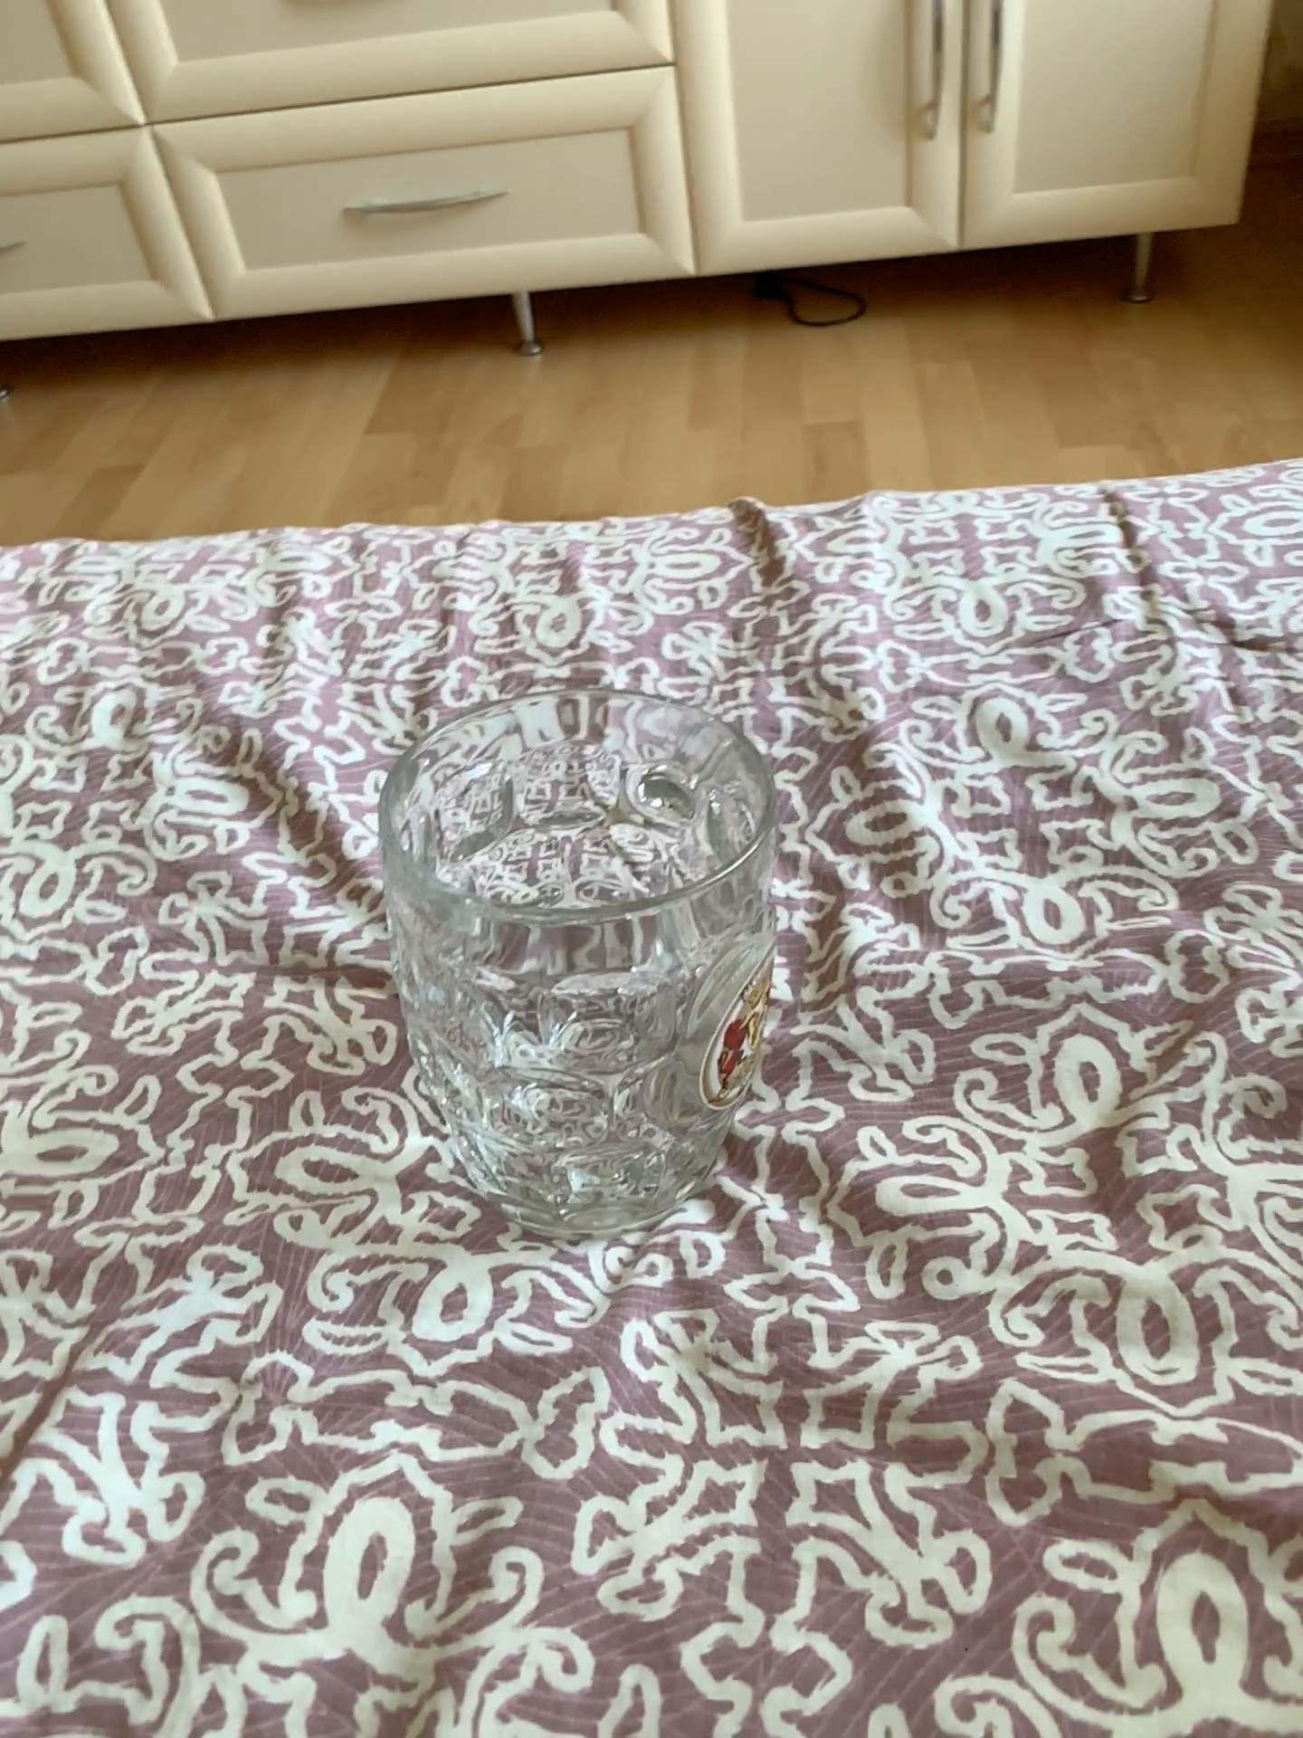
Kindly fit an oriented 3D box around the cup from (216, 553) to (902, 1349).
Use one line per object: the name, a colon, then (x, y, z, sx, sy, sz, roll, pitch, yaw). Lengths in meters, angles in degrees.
cup: (-0.013, 0.013, 0.310, 0.090, 0.109, 0.121, 20, 46, 21)
